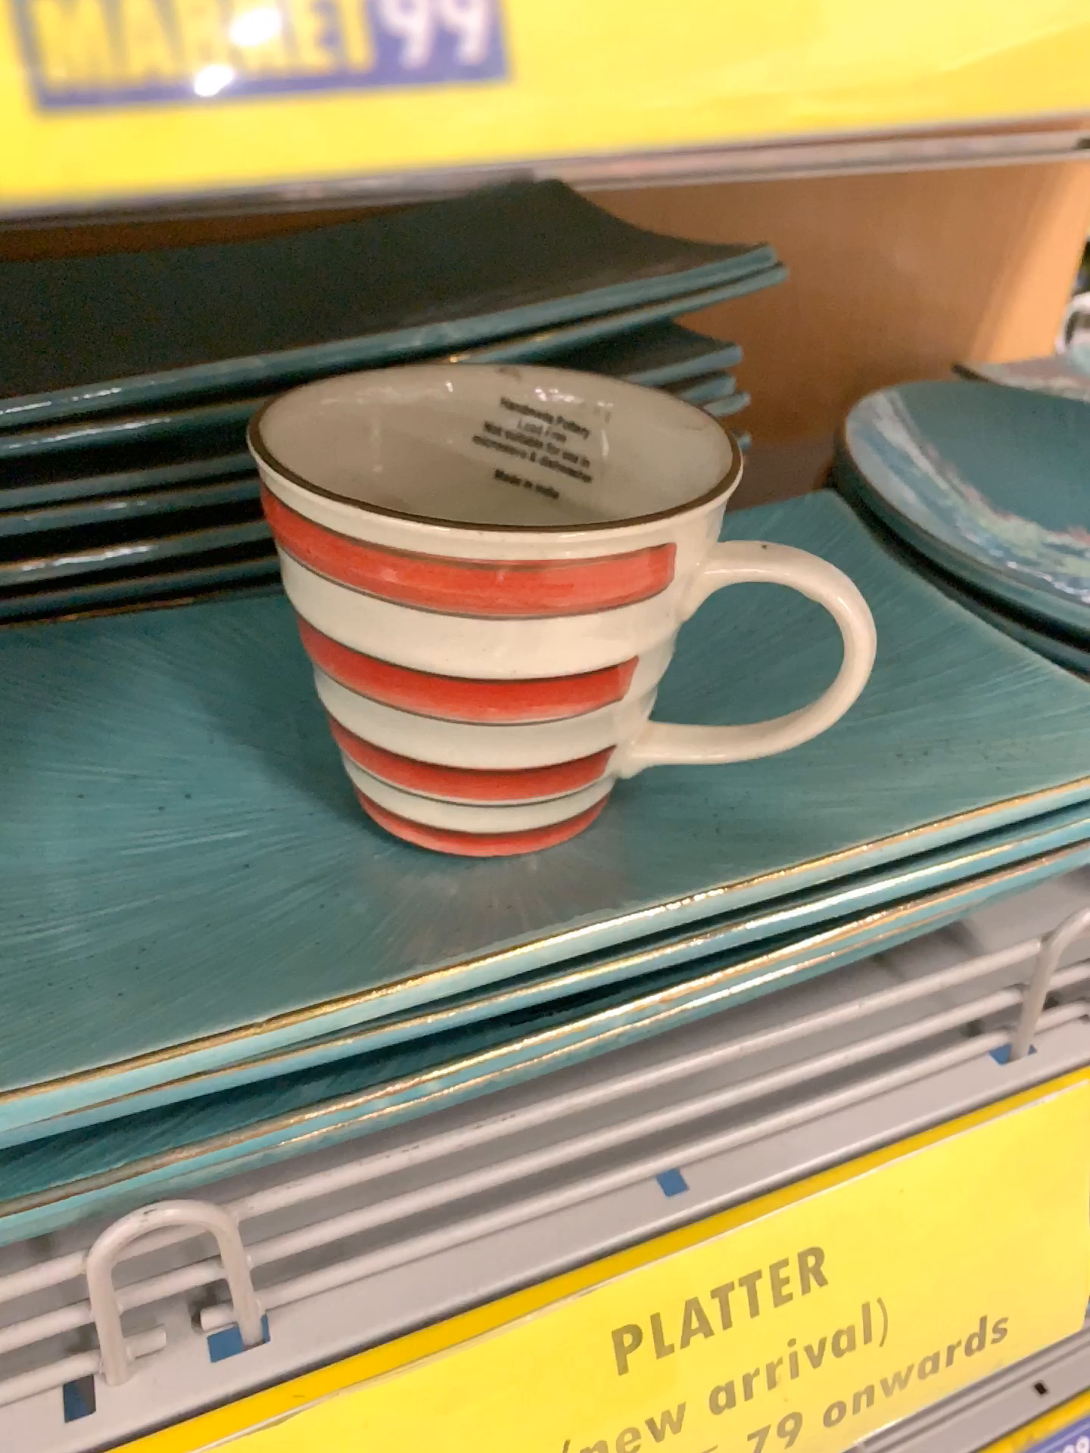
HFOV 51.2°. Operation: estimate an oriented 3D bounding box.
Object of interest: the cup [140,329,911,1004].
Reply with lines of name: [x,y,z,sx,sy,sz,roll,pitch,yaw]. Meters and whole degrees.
cup: [0.001,-0.024,0.259,0.130,0.090,0.100,15,36,17]
